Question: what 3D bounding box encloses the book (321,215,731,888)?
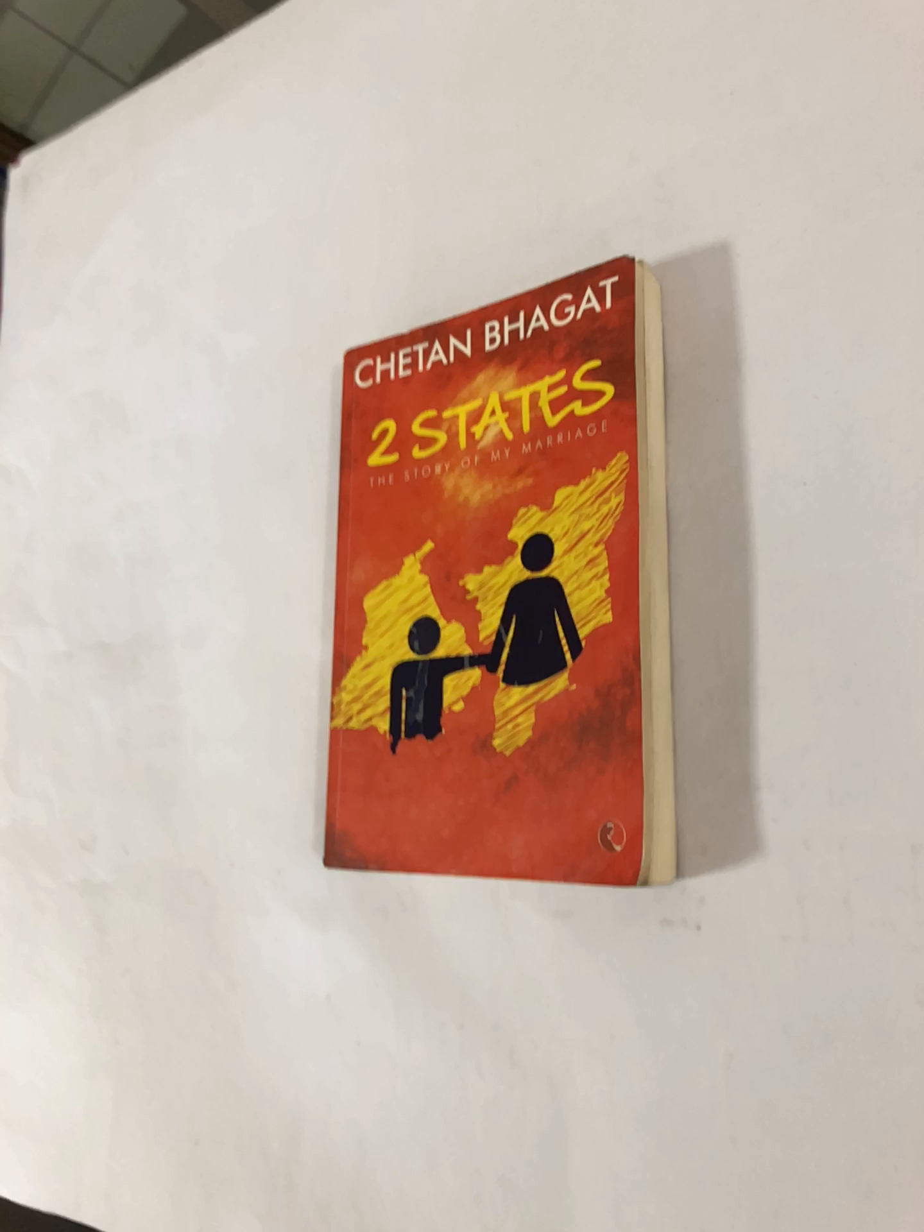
[{"bbox_3d":[0.017,-0.014,0.334,0.123,0.040,0.190,-6,77,34],"label":"book"}]
